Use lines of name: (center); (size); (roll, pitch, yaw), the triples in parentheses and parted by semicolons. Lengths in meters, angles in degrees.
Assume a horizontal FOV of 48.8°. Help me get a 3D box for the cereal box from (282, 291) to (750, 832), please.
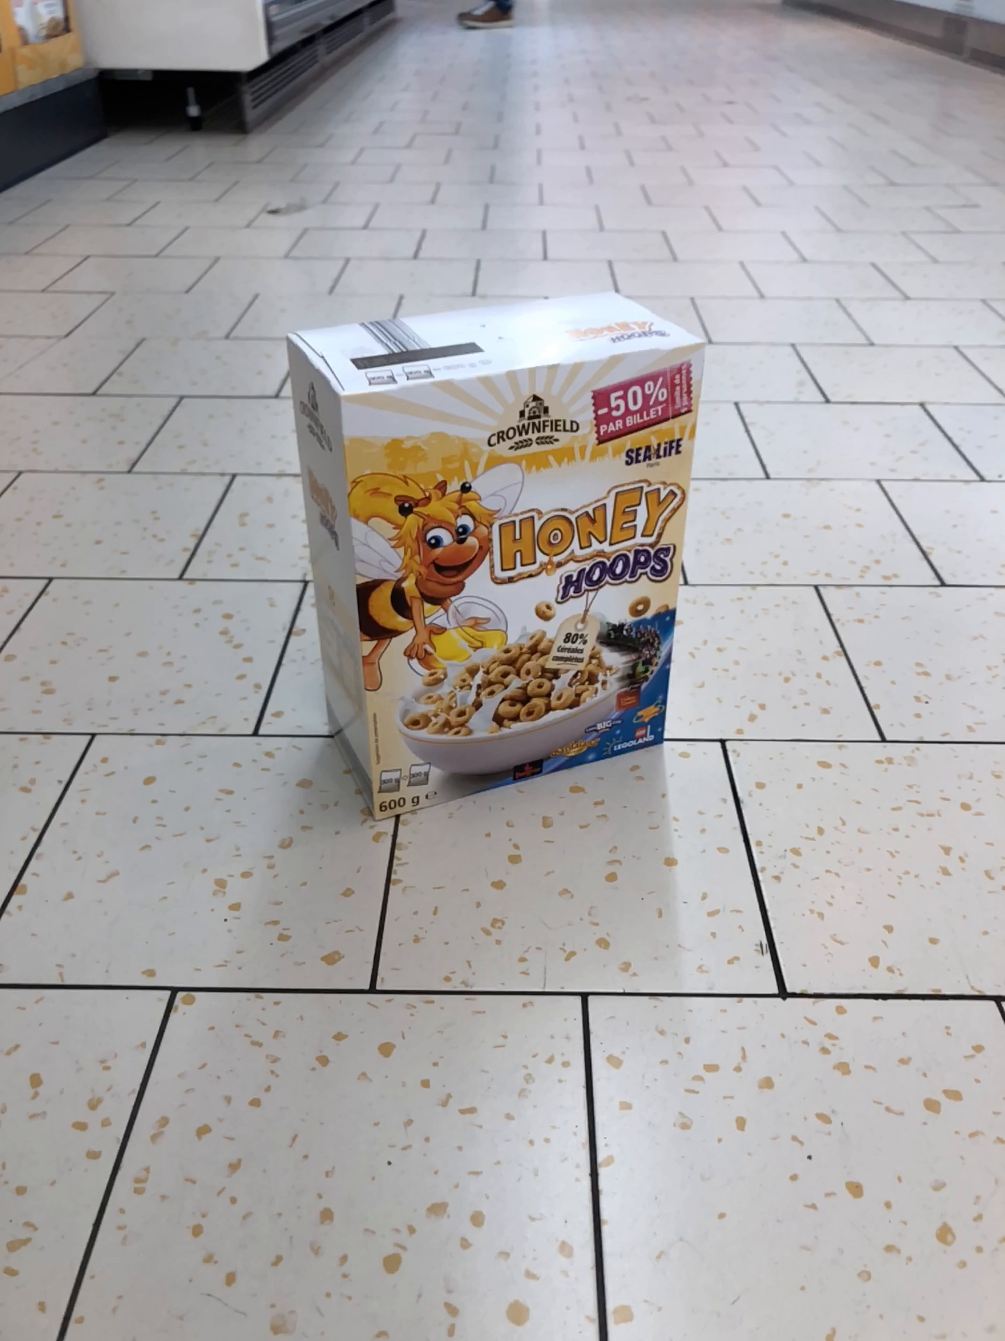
cereal box: (0.004, -0.064, 0.626); (0.211, 0.248, 0.110); (-12, 35, -18)
